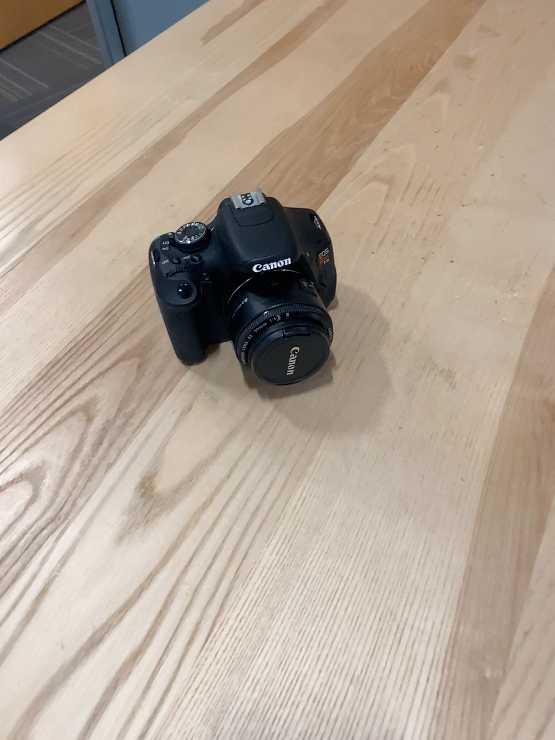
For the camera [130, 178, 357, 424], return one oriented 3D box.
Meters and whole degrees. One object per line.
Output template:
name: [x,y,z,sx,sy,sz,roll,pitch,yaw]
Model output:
camera: [-0.024,-0.049,0.394,0.120,0.094,0.112,-15,52,-7]
